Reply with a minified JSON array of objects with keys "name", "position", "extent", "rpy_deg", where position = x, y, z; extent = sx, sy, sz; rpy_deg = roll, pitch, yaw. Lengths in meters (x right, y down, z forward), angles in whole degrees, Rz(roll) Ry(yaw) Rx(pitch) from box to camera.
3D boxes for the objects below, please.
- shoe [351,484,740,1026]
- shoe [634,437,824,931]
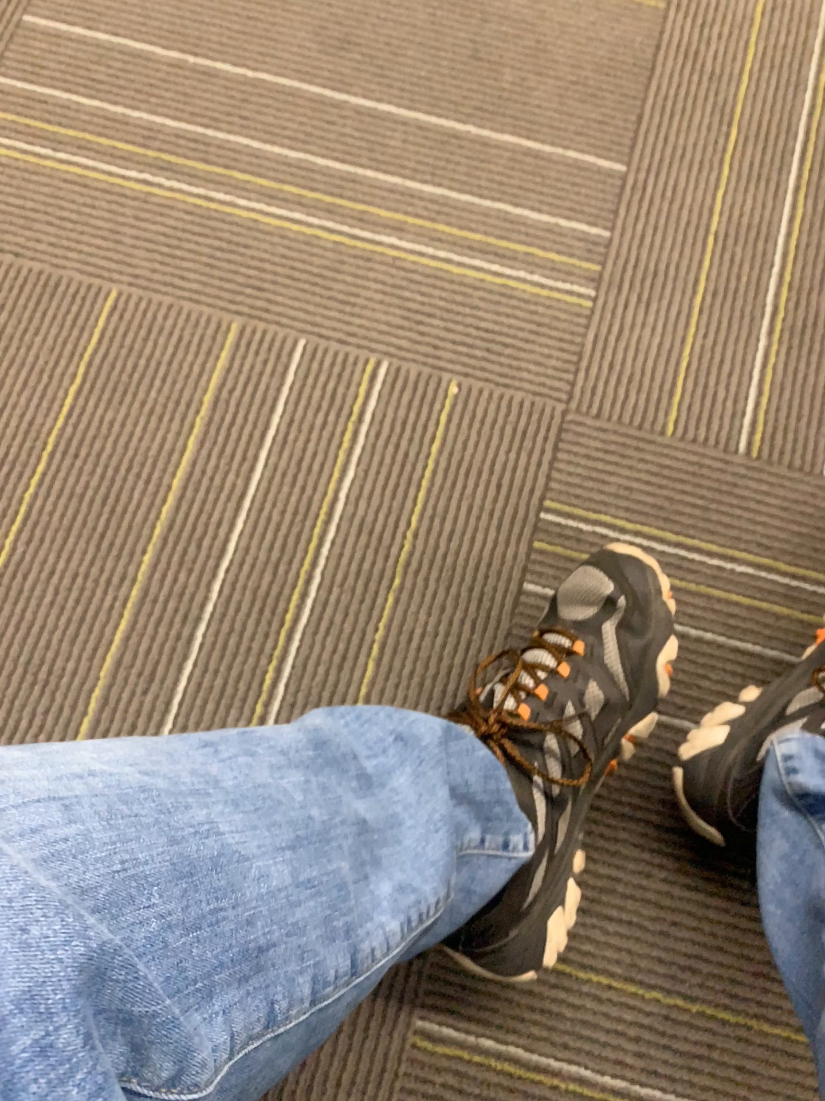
[{"name":"shoe","position":[0.094,0.131,0.591],"extent":[0.127,0.119,0.325],"rpy_deg":[25,81,-35]},{"name":"shoe","position":[0.328,0.091,0.607],"extent":[0.325,0.119,0.119],"rpy_deg":[-44,45,-5]}]
